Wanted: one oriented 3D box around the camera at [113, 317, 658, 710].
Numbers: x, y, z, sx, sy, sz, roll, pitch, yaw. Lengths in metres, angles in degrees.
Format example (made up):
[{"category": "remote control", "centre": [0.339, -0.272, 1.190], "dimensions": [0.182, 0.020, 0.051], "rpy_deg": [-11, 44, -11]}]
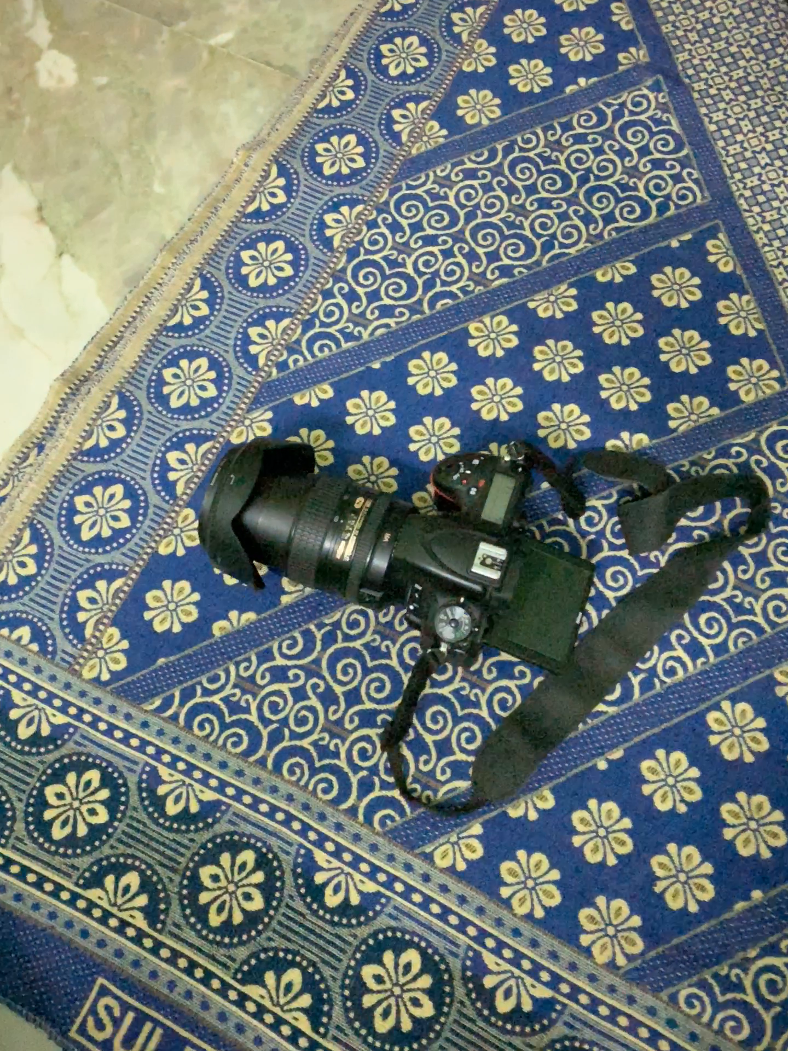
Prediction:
[{"category": "camera", "centre": [-0.004, -0.008, 0.576], "dimensions": [0.320, 0.110, 0.160], "rpy_deg": [19, 74, 10]}]
